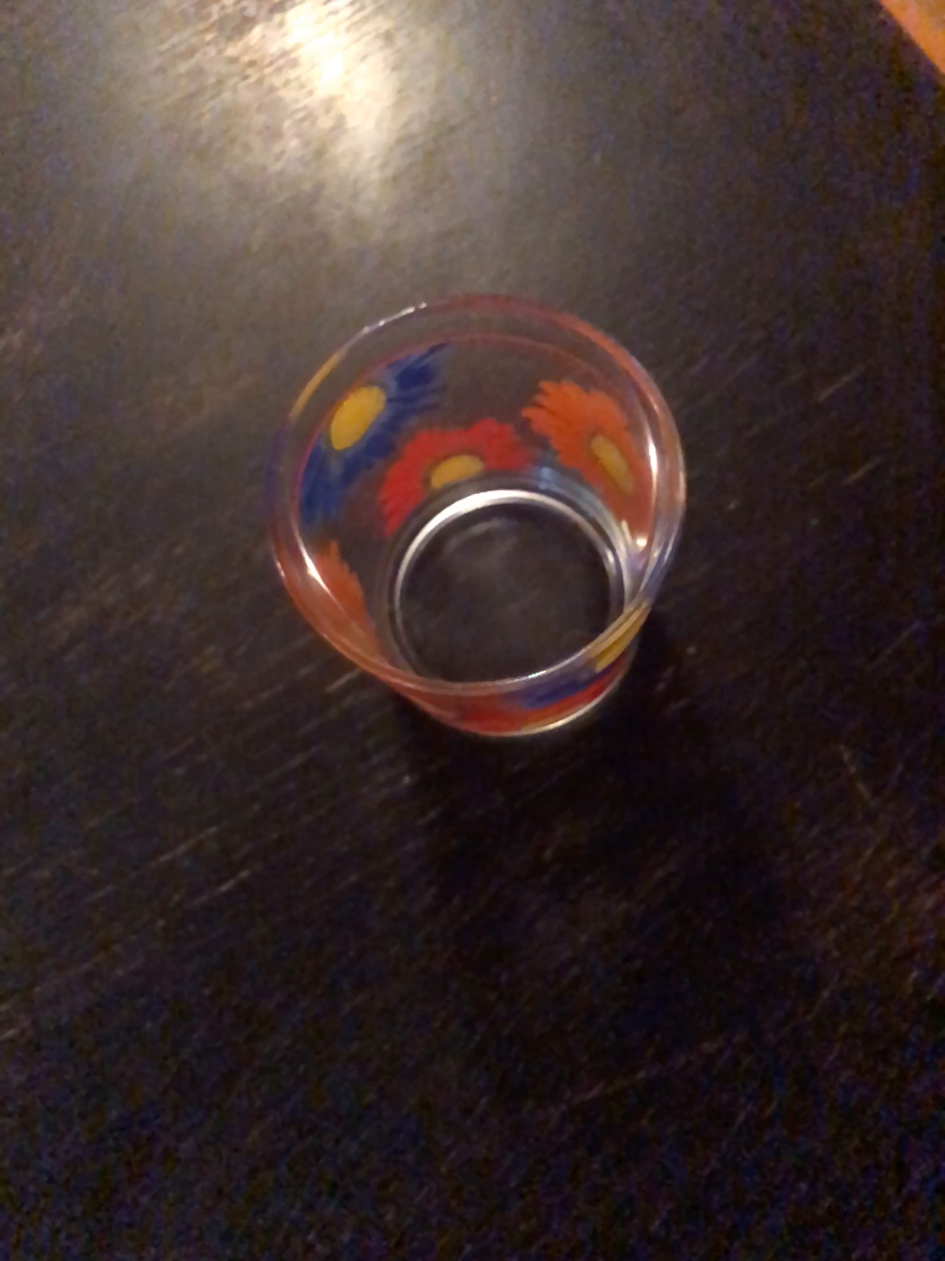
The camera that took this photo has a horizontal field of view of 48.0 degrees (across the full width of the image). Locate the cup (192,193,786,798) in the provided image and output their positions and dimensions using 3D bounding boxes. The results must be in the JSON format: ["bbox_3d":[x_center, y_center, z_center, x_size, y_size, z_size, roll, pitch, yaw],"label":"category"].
[{"bbox_3d":[0.005,-0.021,0.226,0.075,0.079,0.078,-1,77,5],"label":"cup"}]
